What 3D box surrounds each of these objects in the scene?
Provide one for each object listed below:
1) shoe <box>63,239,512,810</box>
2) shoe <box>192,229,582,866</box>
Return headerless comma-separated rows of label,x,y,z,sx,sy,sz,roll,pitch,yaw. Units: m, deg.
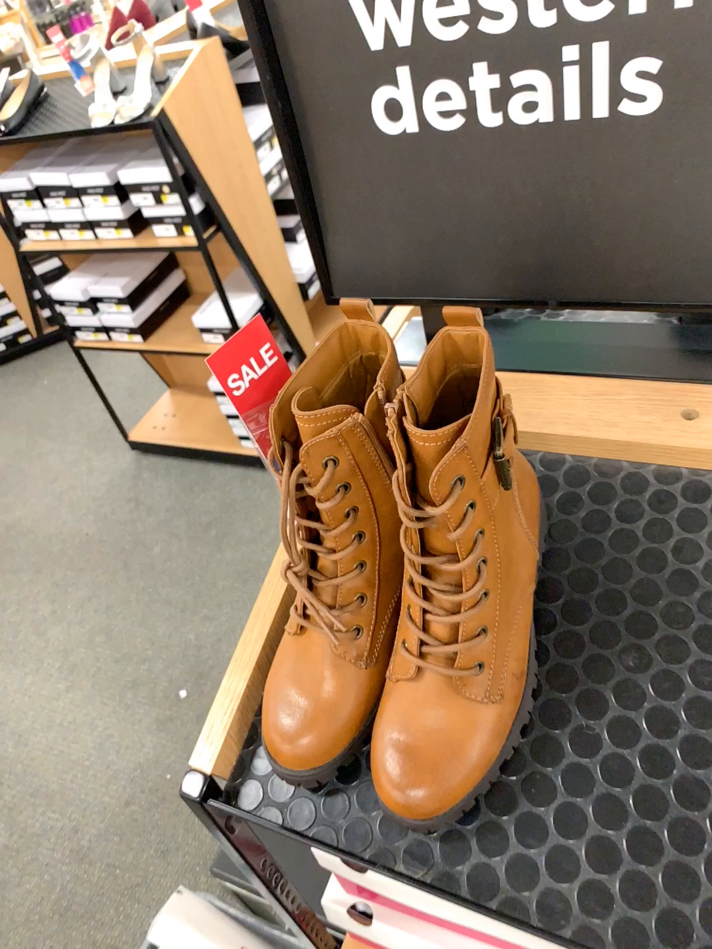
shoe,-0.006,0.023,0.474,0.090,0.229,0.276,14,50,31
shoe,0.057,0.030,0.442,0.110,0.229,0.287,5,46,23
